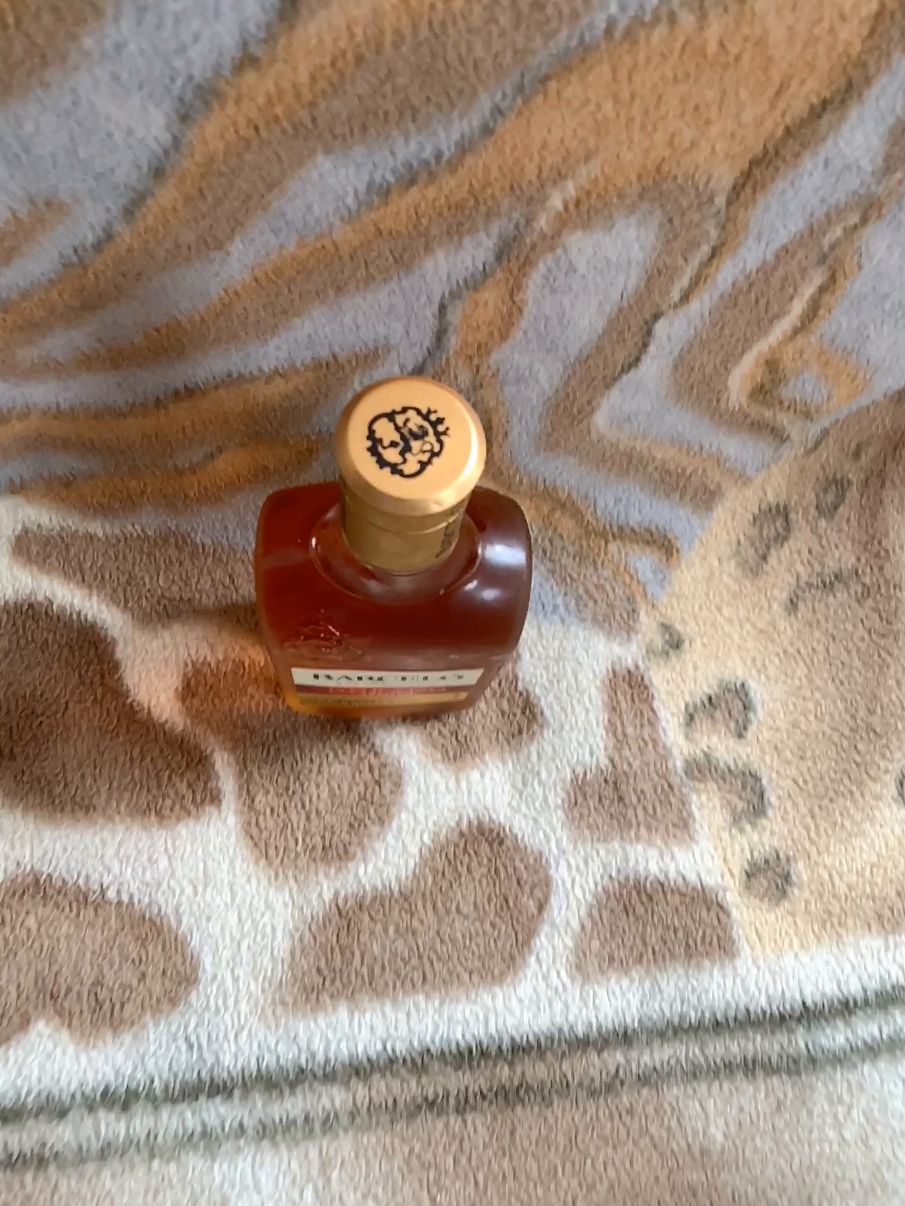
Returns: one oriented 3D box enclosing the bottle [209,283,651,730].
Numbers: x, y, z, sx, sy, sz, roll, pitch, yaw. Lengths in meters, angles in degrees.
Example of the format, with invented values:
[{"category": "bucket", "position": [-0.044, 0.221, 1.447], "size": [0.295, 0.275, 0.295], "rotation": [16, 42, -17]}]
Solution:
[{"category": "bottle", "position": [-0.017, -0.009, 0.303], "size": [0.090, 0.219, 0.070], "rotation": [-2, 75, -6]}]
